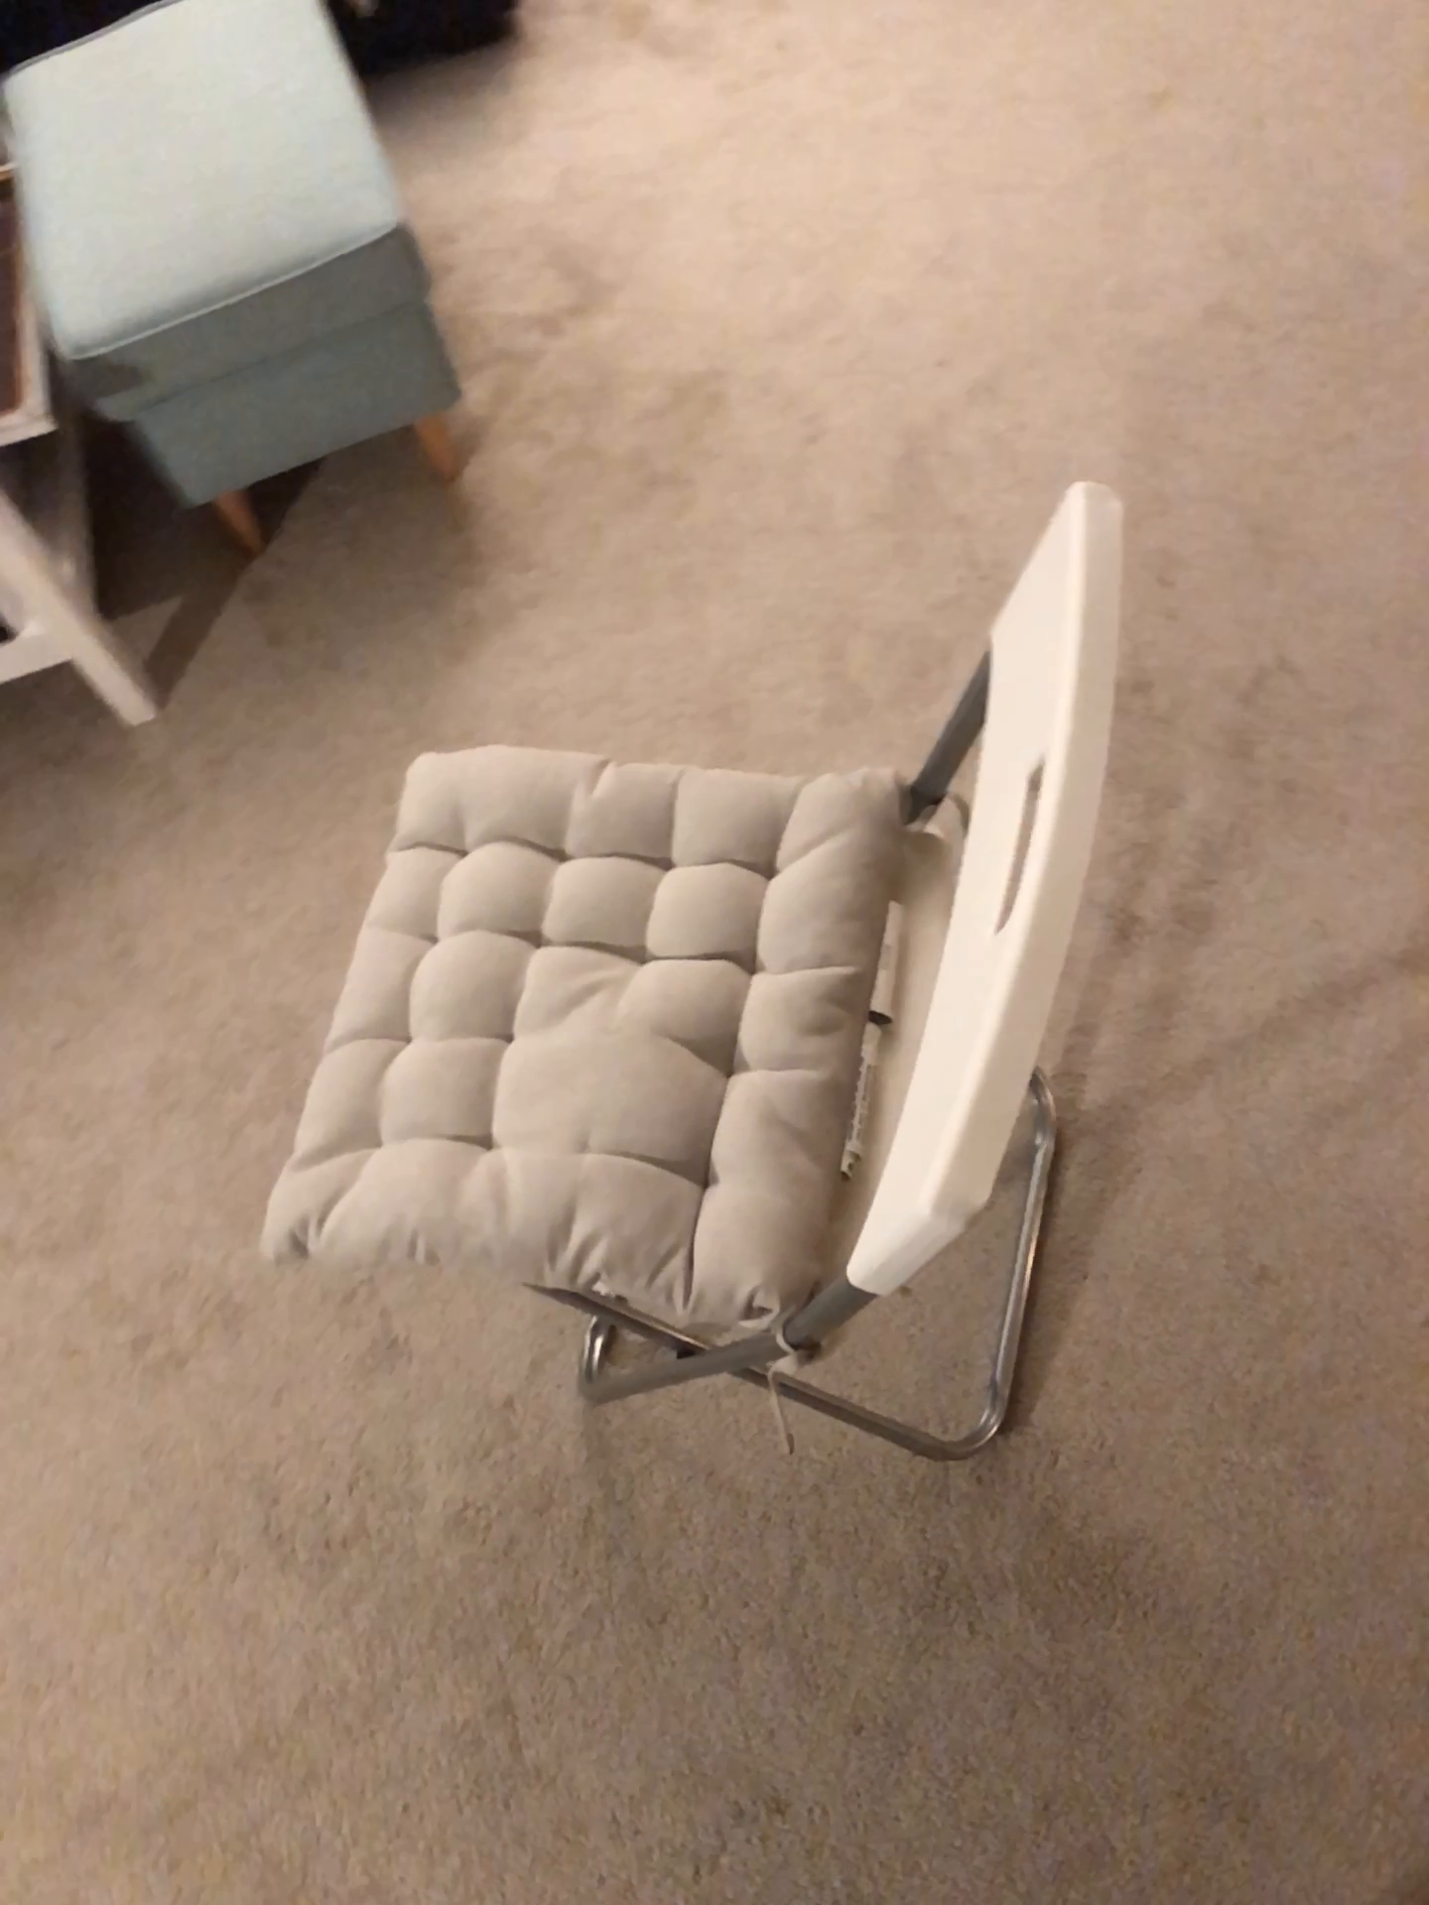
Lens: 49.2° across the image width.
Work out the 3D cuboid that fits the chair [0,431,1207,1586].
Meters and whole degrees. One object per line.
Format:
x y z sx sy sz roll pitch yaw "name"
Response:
0.014 0.078 1.110 0.540 0.668 0.512 7 63 16 "chair"
